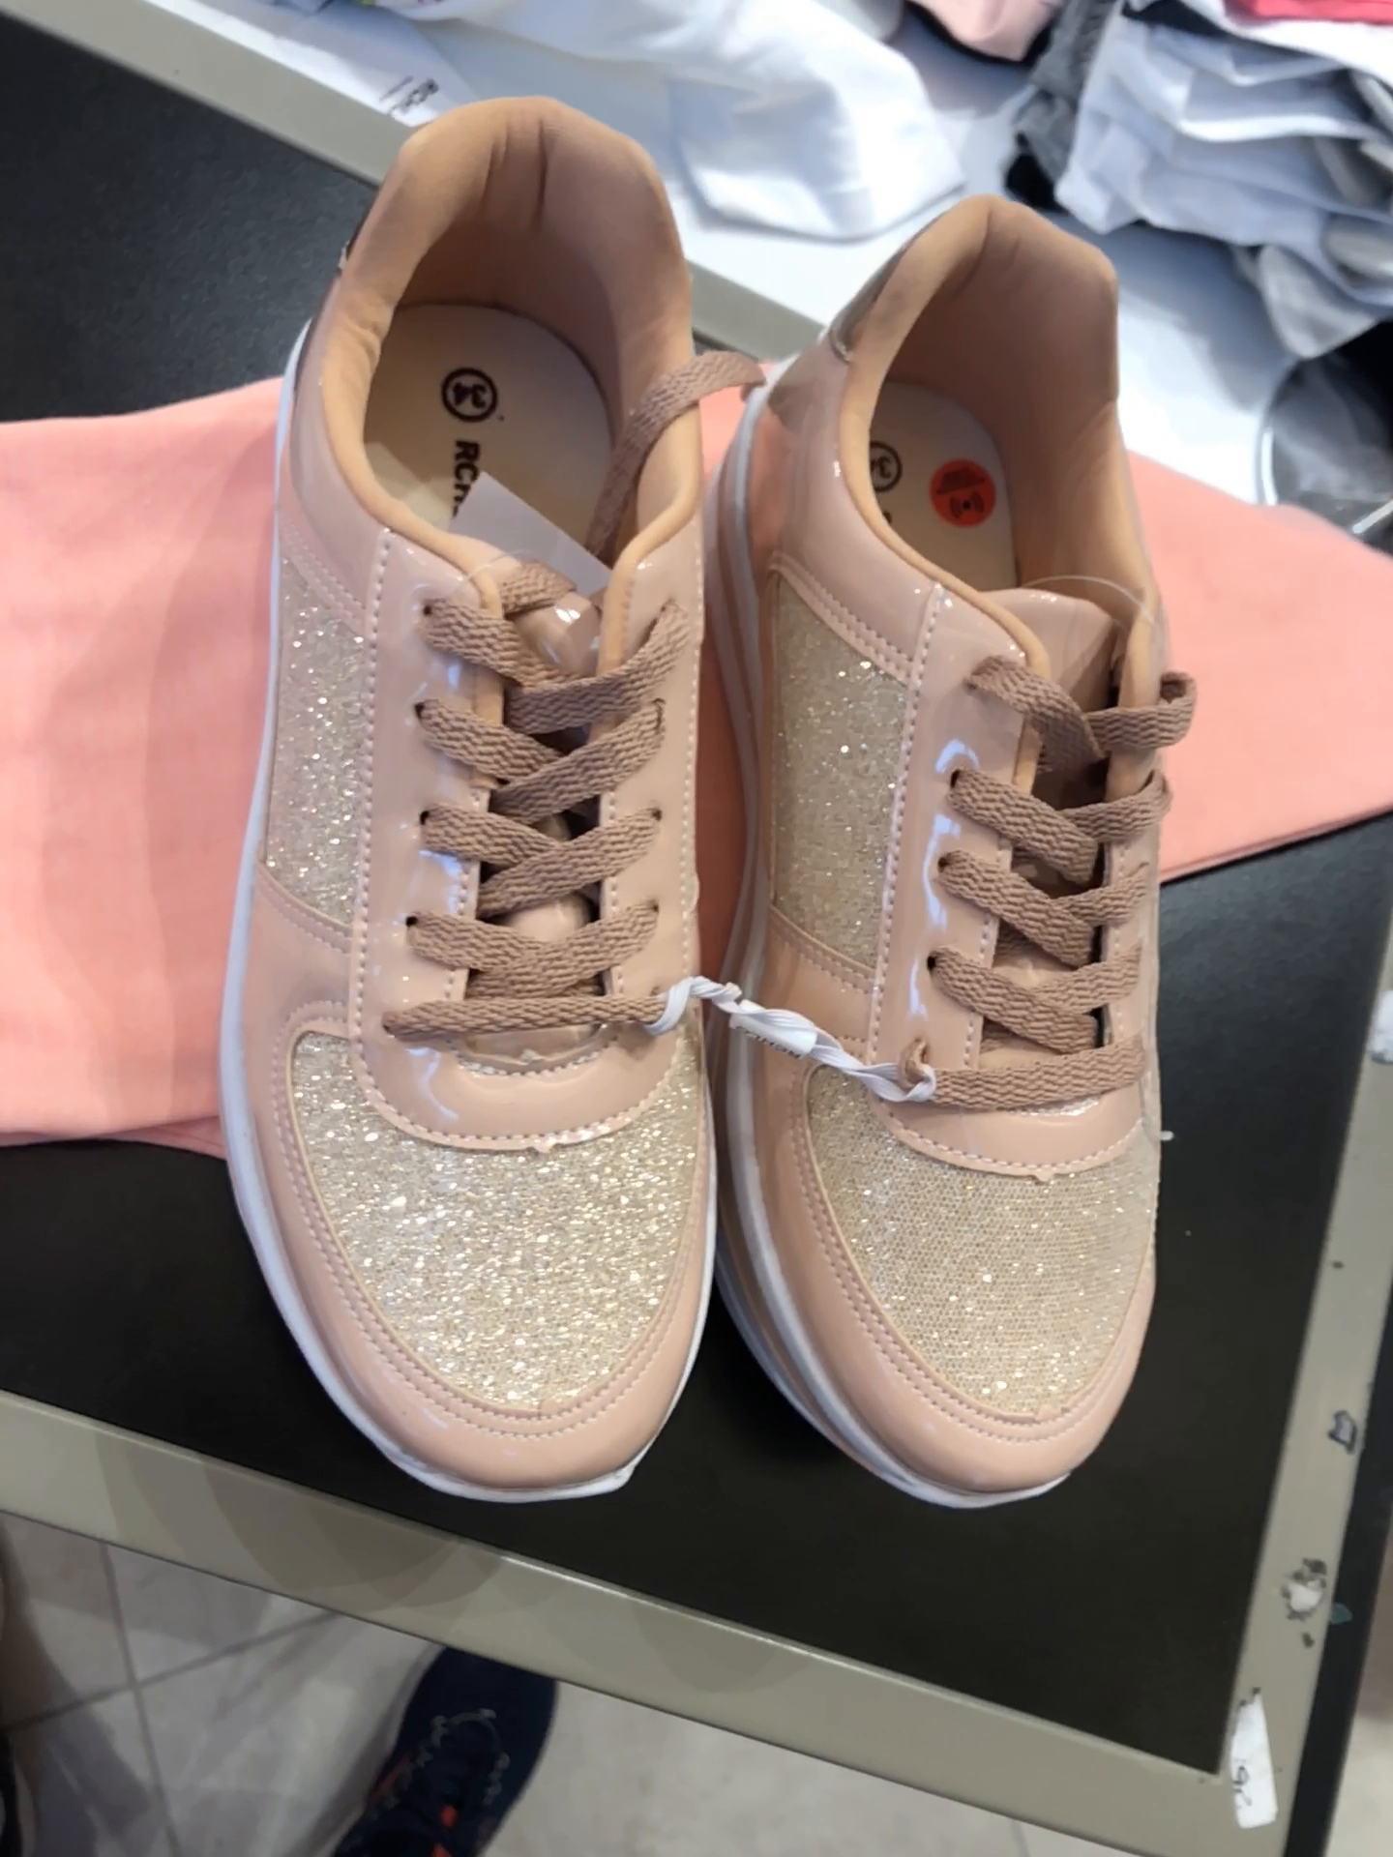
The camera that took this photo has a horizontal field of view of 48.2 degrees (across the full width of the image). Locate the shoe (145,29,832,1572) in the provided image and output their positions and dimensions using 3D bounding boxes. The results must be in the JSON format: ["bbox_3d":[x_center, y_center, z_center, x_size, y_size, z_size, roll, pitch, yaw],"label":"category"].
[{"bbox_3d":[-0.042,-0.018,0.273,0.090,0.100,0.220,0,79,-14],"label":"shoe"}]

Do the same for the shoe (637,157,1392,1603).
[{"bbox_3d":[0.047,-0.008,0.285,0.090,0.090,0.220,0,79,-14],"label":"shoe"}]
